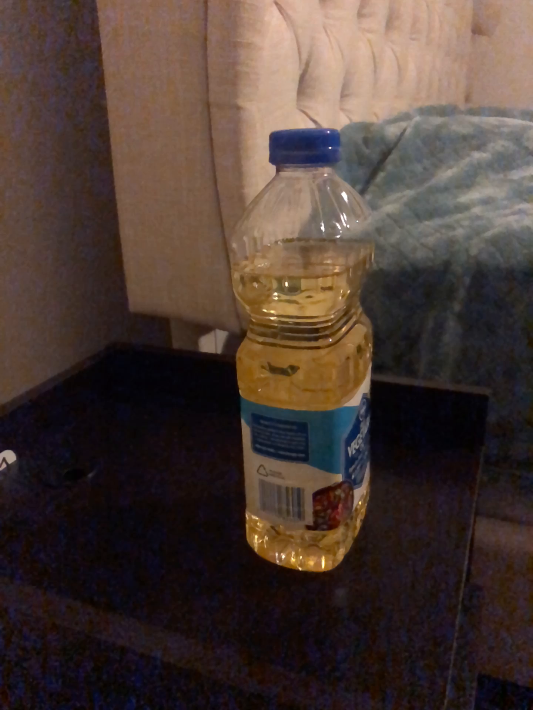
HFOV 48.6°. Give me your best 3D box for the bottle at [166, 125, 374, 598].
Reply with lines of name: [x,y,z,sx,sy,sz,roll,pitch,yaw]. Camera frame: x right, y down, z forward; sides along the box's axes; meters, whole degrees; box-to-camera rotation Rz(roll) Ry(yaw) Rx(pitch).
bottle: [0.013,0.001,0.384,0.083,0.276,0.110,6,23,21]
